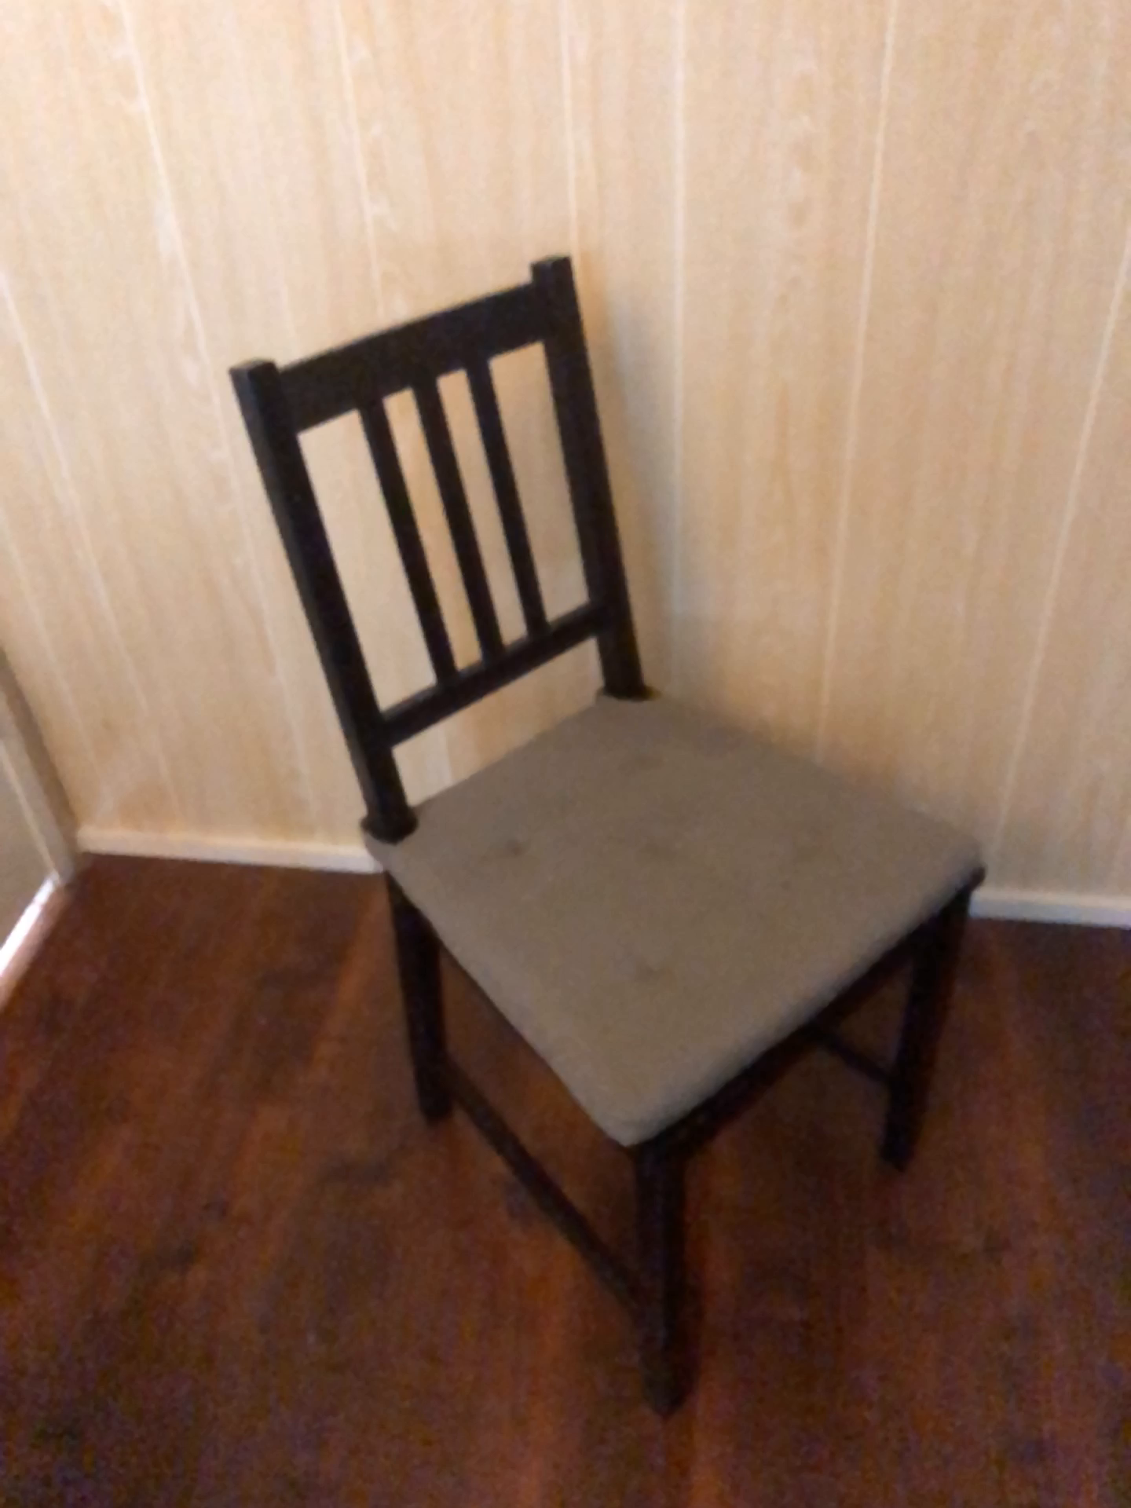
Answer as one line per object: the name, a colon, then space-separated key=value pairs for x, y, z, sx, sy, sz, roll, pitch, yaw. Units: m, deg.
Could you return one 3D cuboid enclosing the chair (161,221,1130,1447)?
chair: x=0.069 y=0.070 z=1.099 sx=0.441 sy=0.834 sz=0.513 roll=-31 pitch=46 yaw=-30
